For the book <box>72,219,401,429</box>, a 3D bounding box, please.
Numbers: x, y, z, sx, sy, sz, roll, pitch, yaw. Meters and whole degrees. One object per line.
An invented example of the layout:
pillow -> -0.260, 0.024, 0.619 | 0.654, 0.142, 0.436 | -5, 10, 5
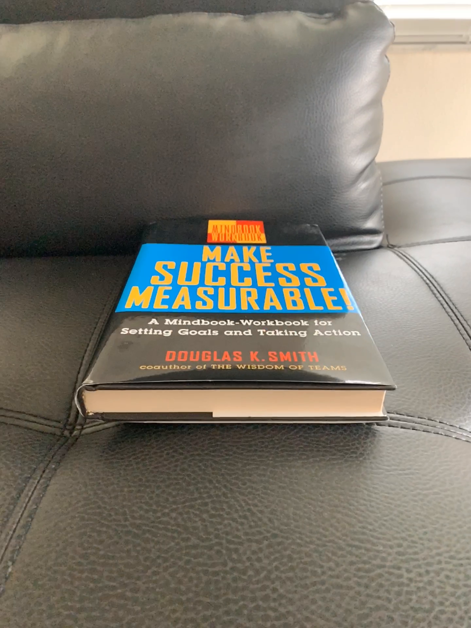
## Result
book -> -0.002, -0.013, 0.354 | 0.164, 0.030, 0.242 | 0, 30, -2
